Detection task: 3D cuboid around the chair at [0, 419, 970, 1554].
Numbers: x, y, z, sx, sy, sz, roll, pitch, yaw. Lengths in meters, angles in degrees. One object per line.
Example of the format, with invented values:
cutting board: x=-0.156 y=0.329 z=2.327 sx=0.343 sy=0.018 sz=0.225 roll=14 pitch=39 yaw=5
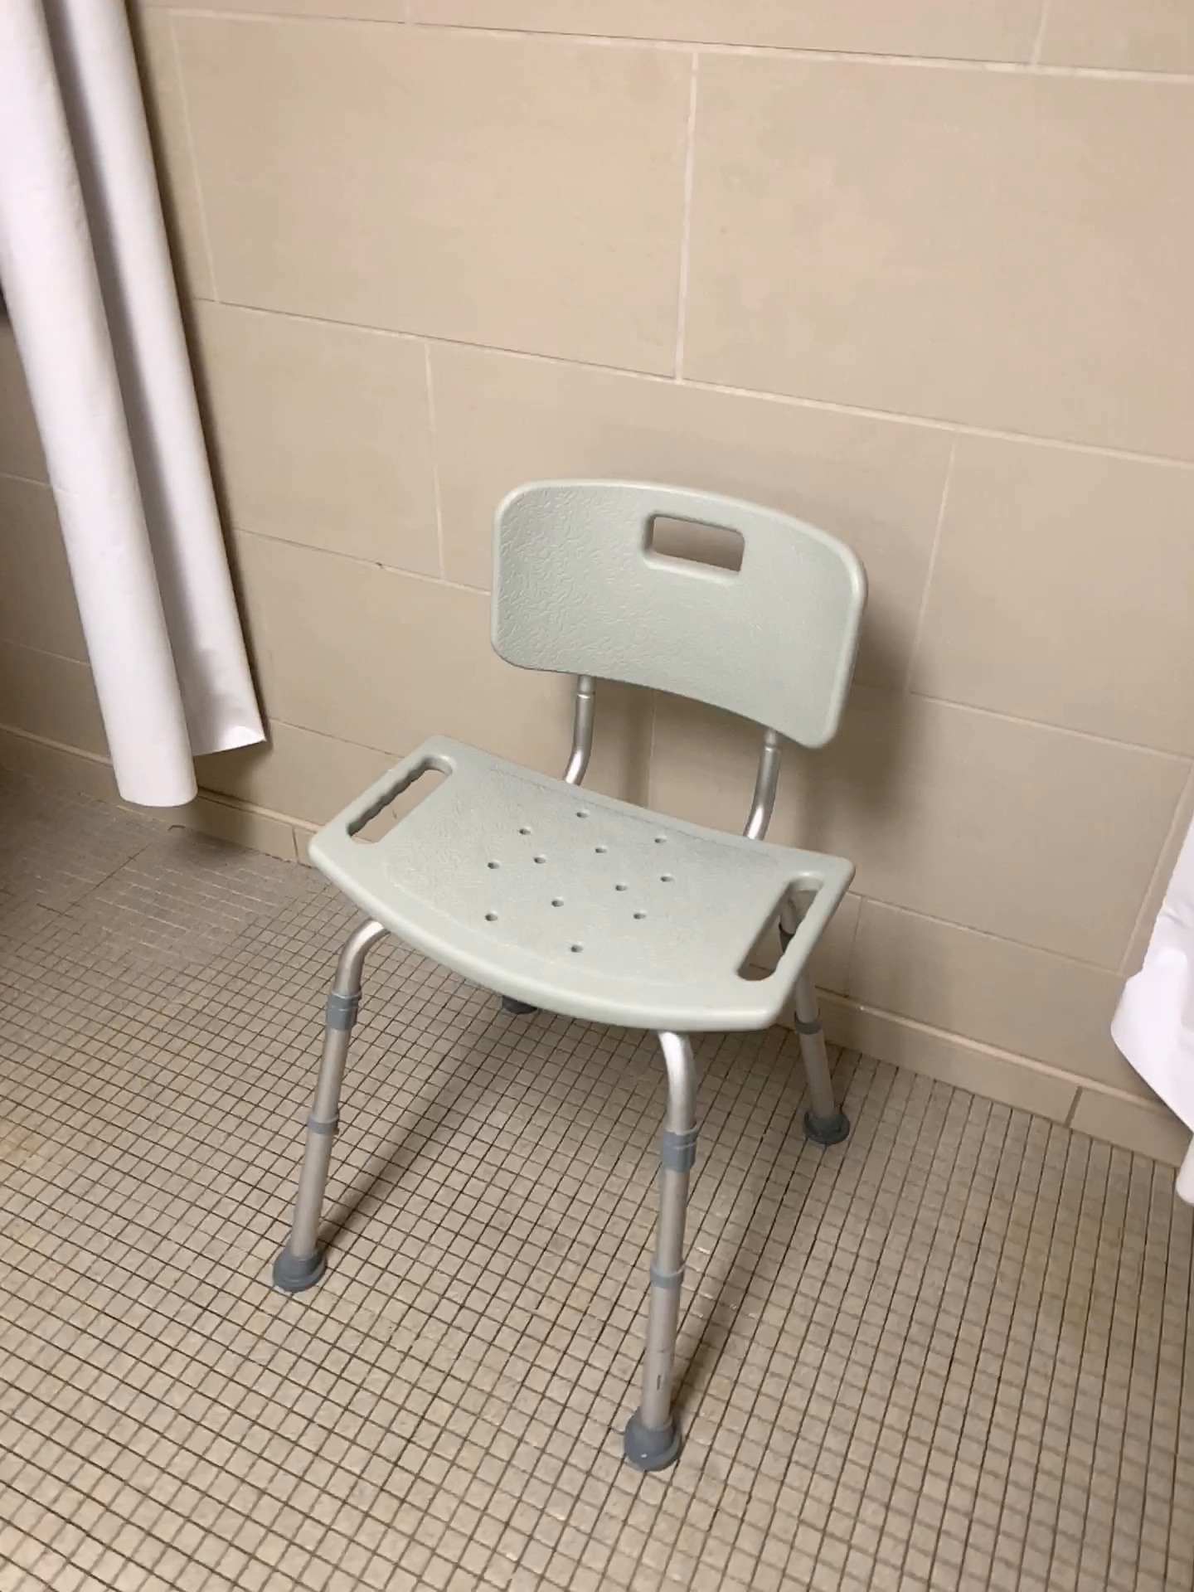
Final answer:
chair: x=-0.053 y=0.146 z=1.110 sx=0.550 sy=0.745 sz=0.524 roll=16 pitch=41 yaw=22
